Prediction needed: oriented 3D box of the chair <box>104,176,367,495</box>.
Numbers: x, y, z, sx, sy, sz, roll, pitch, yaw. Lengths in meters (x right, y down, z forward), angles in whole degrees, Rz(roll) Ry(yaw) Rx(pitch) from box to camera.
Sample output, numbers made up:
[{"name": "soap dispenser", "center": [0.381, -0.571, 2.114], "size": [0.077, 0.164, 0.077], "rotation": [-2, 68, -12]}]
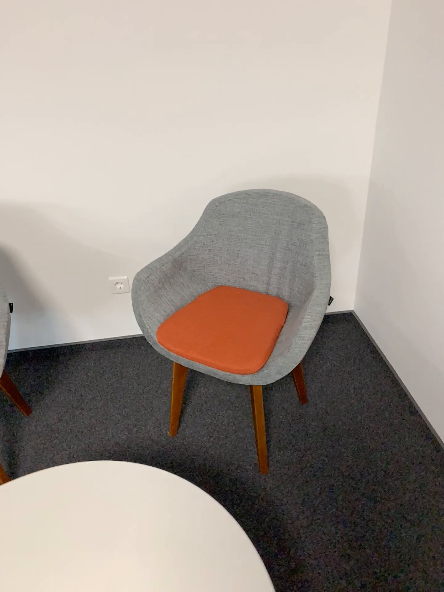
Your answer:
[{"name": "chair", "center": [0.072, 0.103, 1.580], "size": [0.631, 0.835, 0.502], "rotation": [14, 36, 26]}]
